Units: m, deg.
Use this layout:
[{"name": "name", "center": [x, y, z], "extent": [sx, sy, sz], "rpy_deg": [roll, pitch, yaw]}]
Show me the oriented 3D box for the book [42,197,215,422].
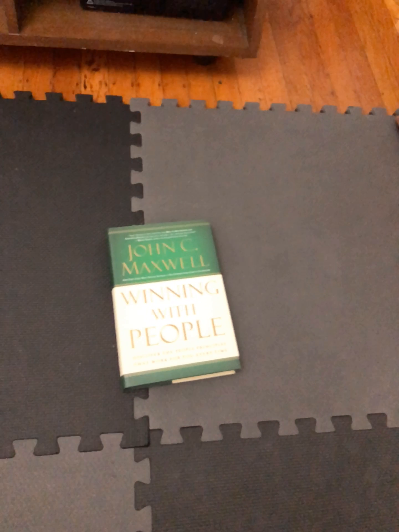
[{"name": "book", "center": [-0.101, 0.042, 0.591], "extent": [0.200, 0.030, 0.291], "rpy_deg": [-4, 65, -10]}]
